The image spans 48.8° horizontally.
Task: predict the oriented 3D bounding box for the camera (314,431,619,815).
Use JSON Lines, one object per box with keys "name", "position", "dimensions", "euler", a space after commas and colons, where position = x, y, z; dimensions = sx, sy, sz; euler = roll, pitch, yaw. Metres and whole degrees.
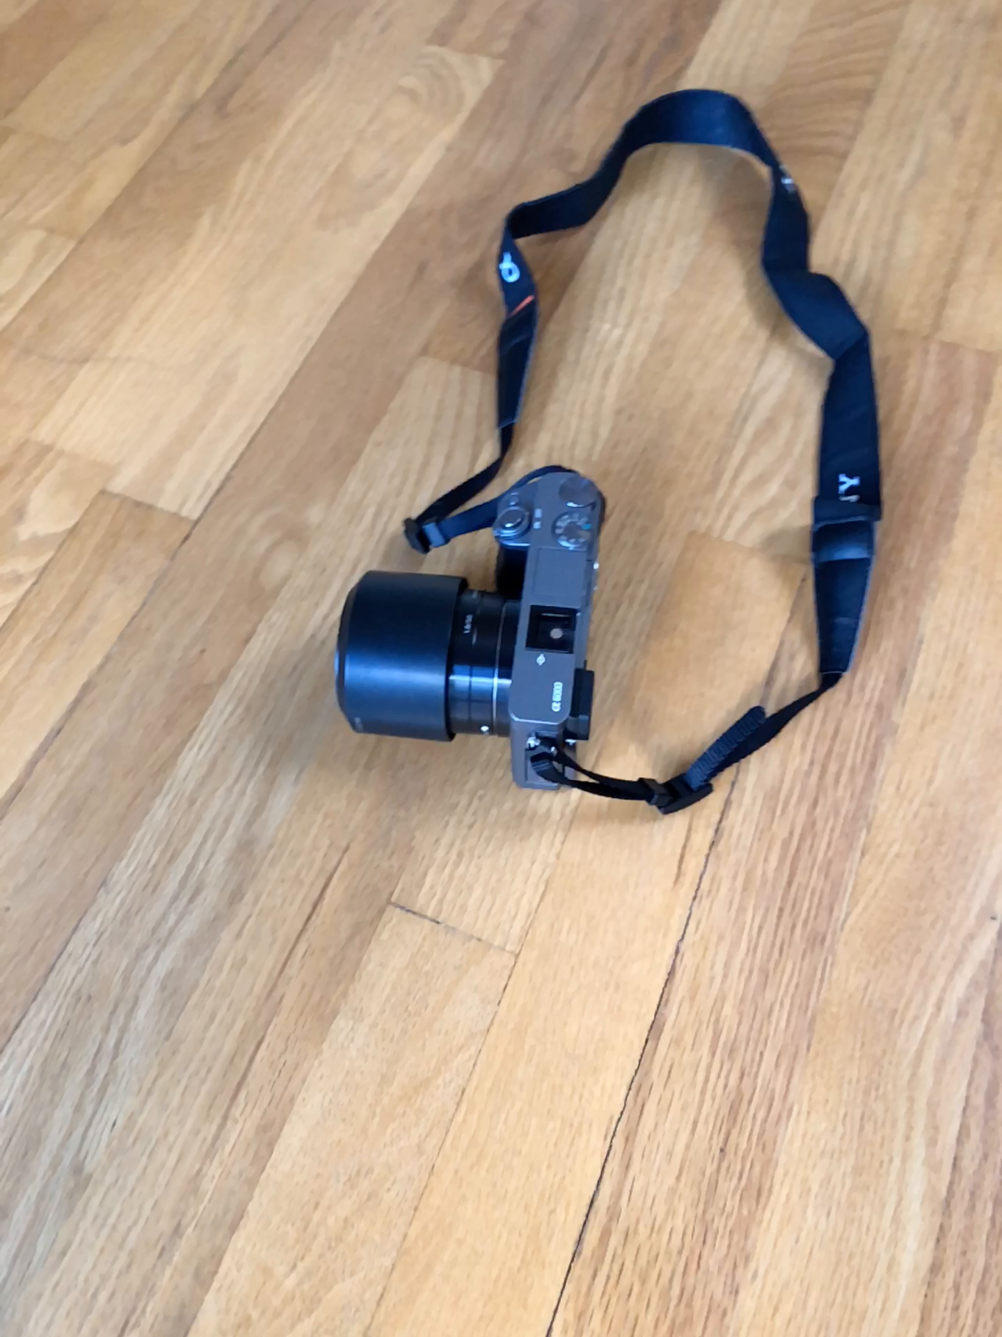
{"name": "camera", "position": [-0.009, -0.020, 0.475], "dimensions": [0.106, 0.079, 0.136], "euler": [5, 61, 4]}
